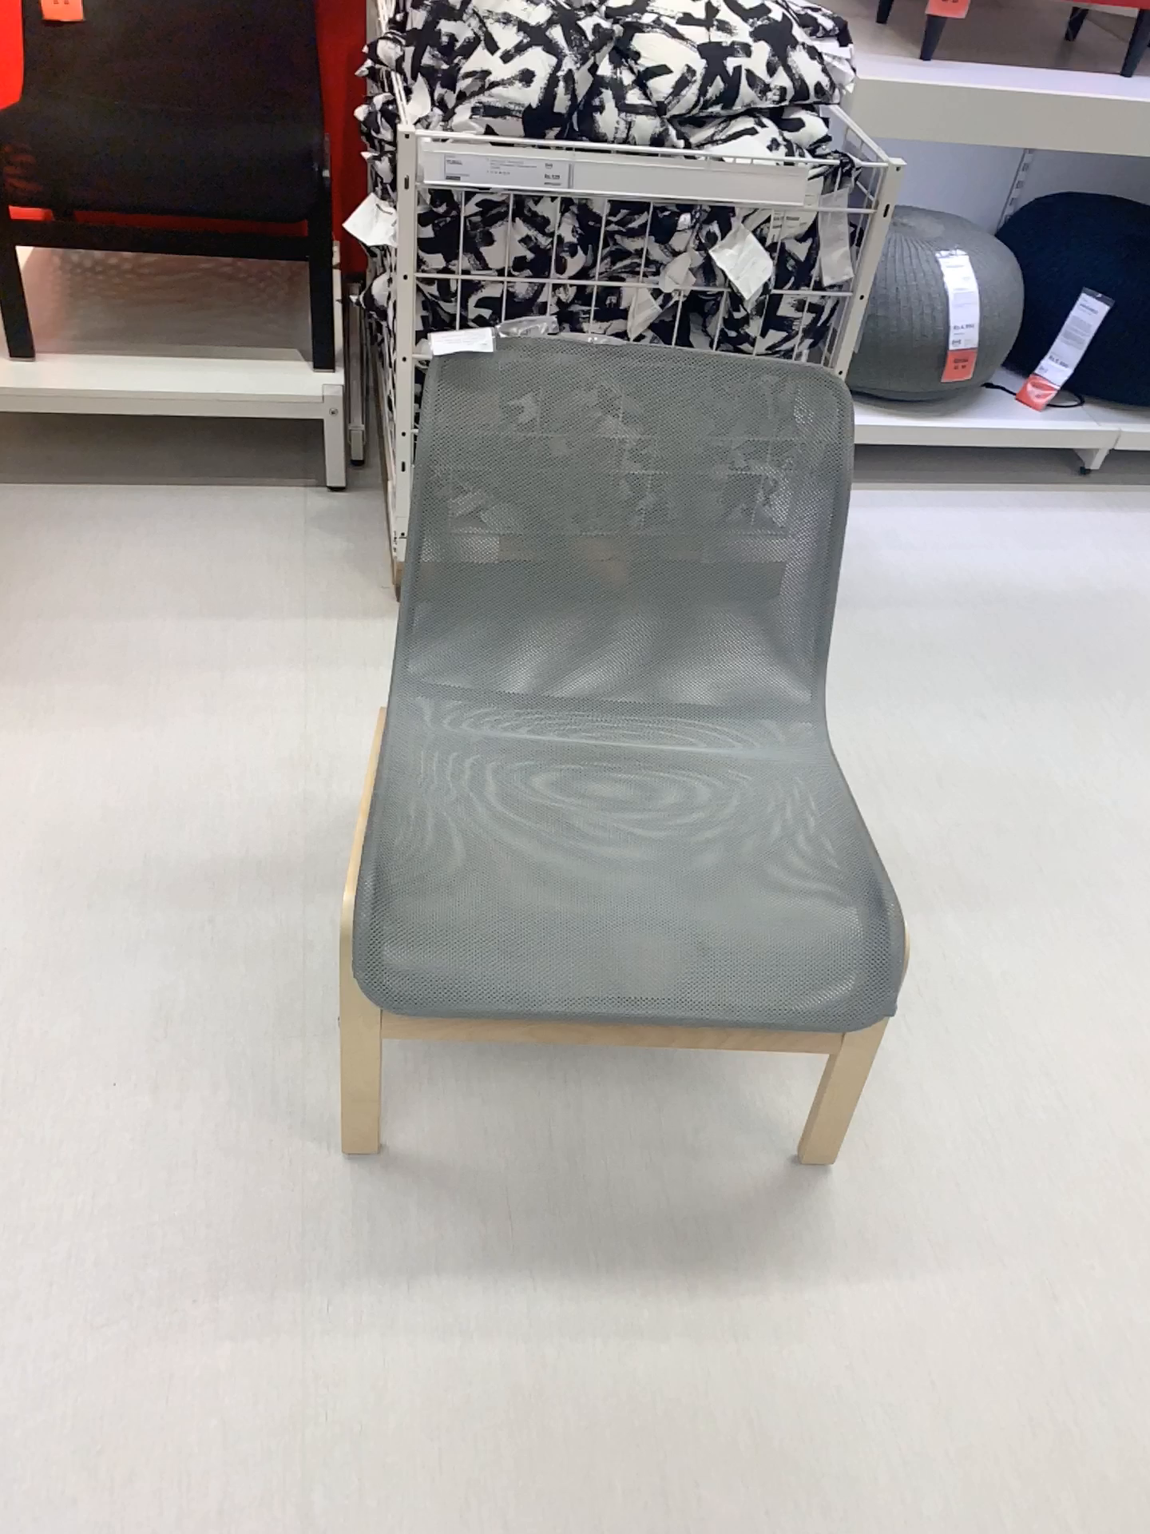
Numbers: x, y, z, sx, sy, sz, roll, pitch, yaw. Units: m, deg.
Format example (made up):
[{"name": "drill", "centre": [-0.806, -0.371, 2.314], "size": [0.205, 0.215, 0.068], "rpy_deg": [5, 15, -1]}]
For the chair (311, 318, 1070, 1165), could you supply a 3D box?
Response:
[{"name": "chair", "centre": [0.055, -0.031, 1.467], "size": [0.630, 0.697, 0.753], "rpy_deg": [4, 44, -6]}]
